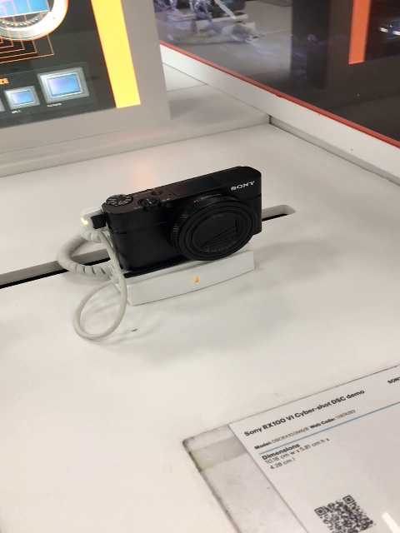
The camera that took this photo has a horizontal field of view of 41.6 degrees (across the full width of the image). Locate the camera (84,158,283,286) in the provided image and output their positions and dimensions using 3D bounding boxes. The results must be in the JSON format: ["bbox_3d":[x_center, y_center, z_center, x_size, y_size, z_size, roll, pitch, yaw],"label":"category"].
[{"bbox_3d":[-0.008,-0.033,0.381,0.122,0.059,0.043,-17,43,-15],"label":"camera"}]
